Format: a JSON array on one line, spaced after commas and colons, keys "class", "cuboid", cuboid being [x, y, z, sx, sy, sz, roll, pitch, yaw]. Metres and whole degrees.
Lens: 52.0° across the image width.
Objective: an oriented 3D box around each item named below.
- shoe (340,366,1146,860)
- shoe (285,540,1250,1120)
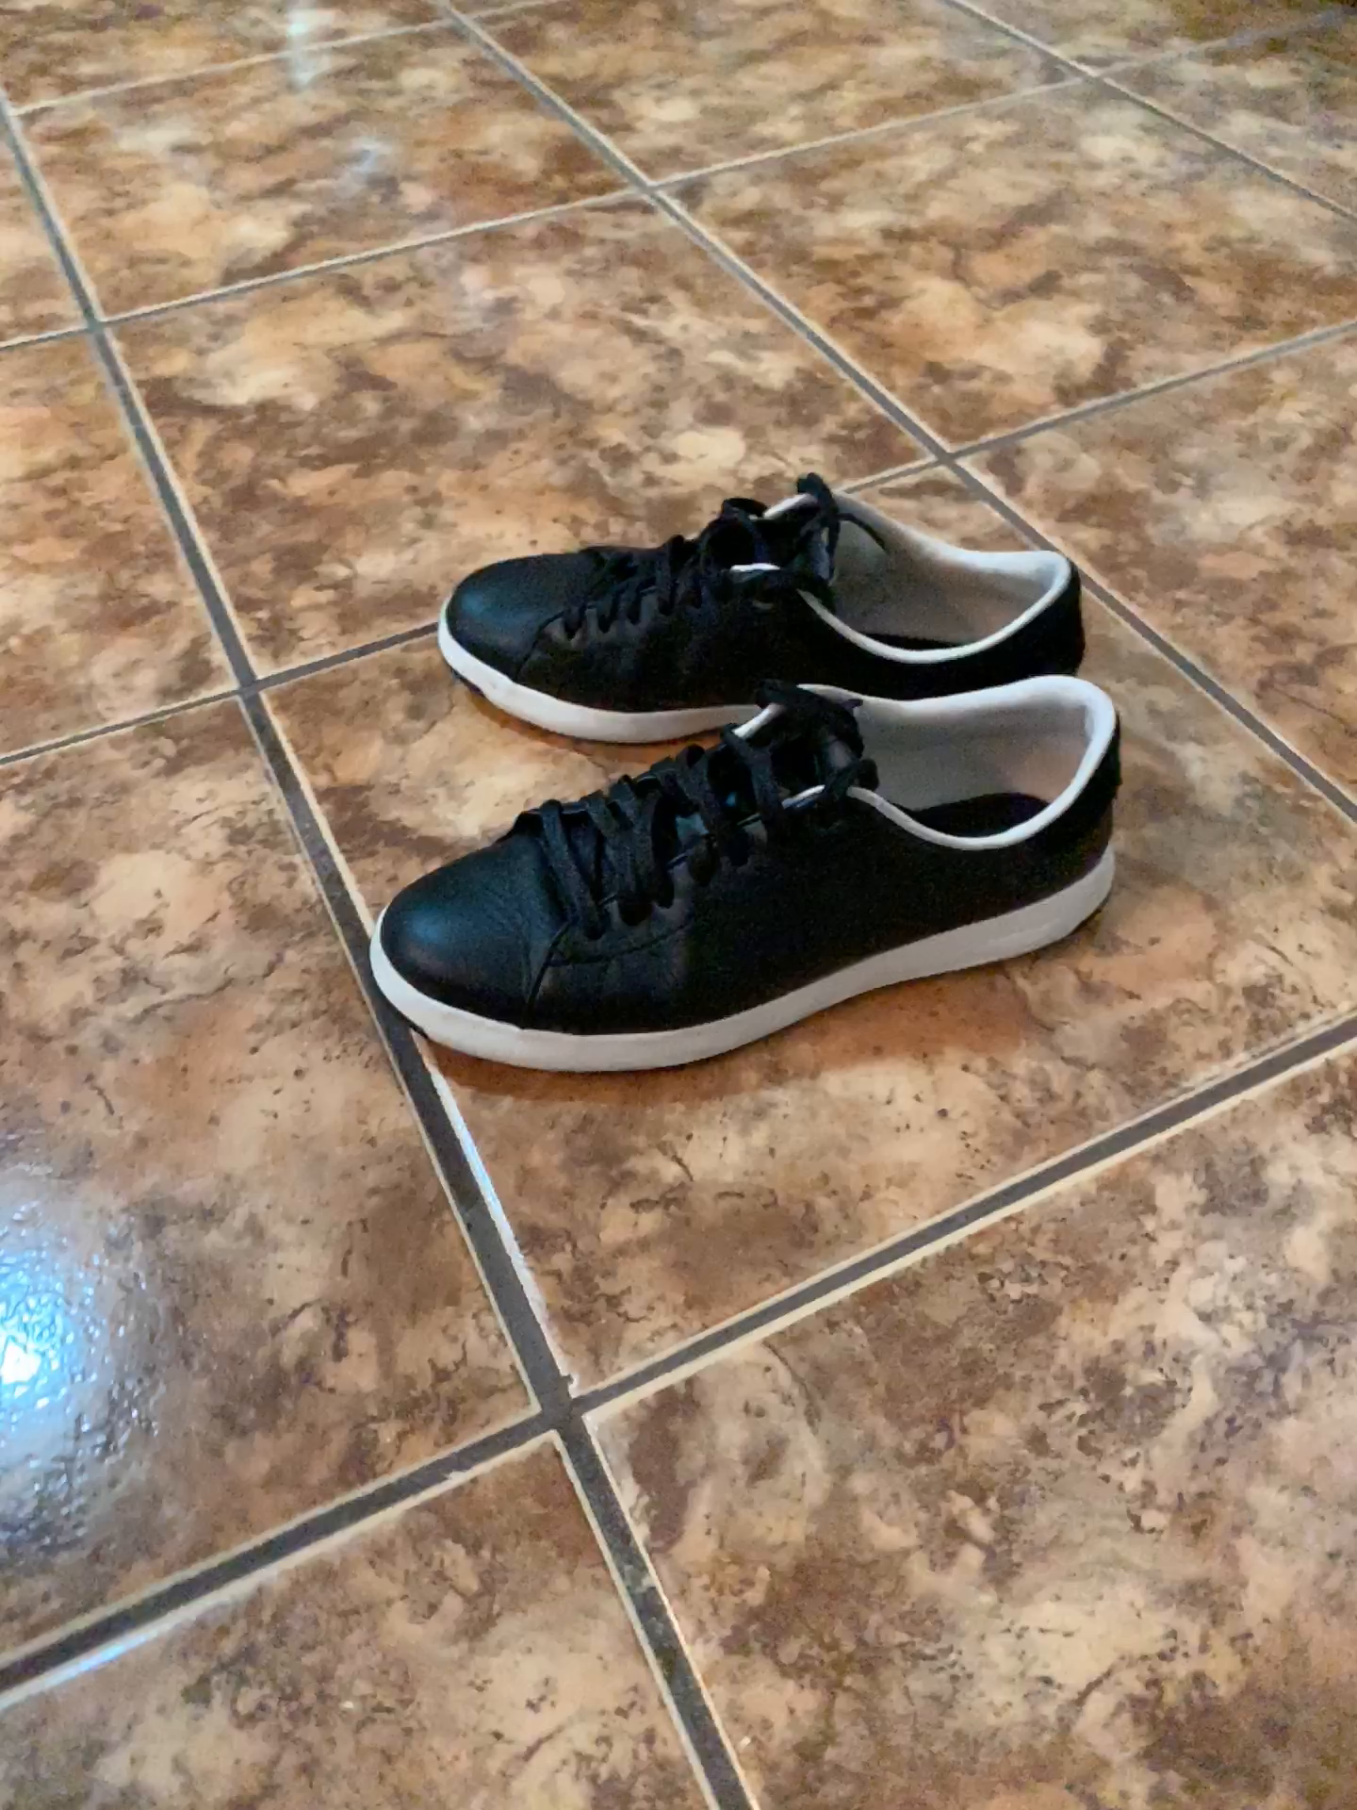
[{"class": "shoe", "cuboid": [0.021, -0.109, 0.500, 0.255, 0.093, 0.087, 15, 51, 13]}, {"class": "shoe", "cuboid": [0.022, -0.025, 0.428, 0.255, 0.103, 0.090, -10, 50, -8]}]
